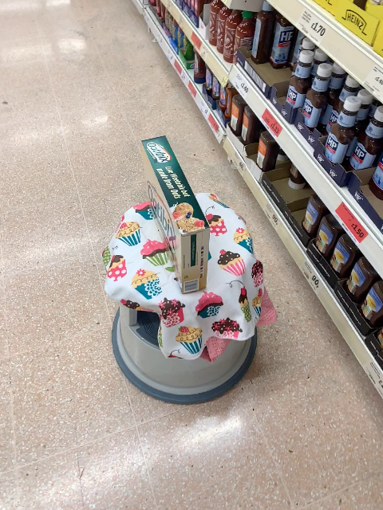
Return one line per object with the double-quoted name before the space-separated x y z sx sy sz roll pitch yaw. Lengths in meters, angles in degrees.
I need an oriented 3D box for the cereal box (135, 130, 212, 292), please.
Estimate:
"cereal box" -0.041 -0.093 0.780 0.060 0.169 0.282 -15 54 -11
